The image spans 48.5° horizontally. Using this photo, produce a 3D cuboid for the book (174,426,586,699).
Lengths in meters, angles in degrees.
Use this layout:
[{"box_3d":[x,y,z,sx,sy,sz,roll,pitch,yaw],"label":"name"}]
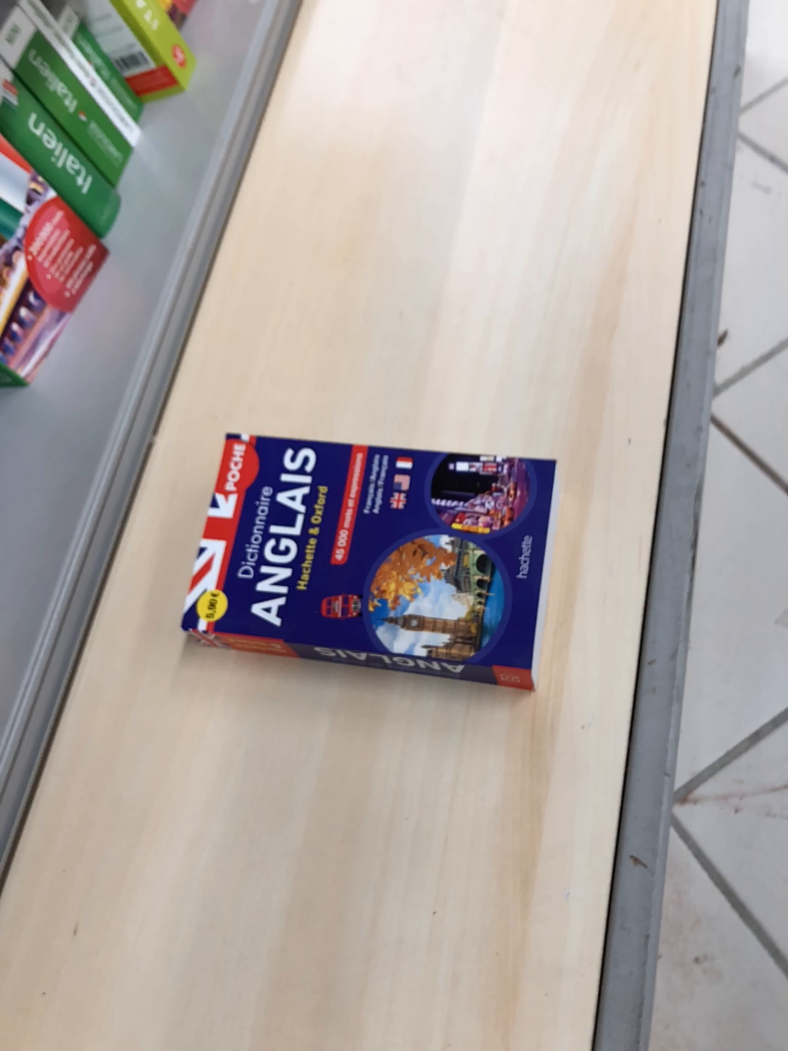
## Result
[{"box_3d":[-0.003,0.014,0.443,0.187,0.040,0.119,4,65,14],"label":"book"}]
